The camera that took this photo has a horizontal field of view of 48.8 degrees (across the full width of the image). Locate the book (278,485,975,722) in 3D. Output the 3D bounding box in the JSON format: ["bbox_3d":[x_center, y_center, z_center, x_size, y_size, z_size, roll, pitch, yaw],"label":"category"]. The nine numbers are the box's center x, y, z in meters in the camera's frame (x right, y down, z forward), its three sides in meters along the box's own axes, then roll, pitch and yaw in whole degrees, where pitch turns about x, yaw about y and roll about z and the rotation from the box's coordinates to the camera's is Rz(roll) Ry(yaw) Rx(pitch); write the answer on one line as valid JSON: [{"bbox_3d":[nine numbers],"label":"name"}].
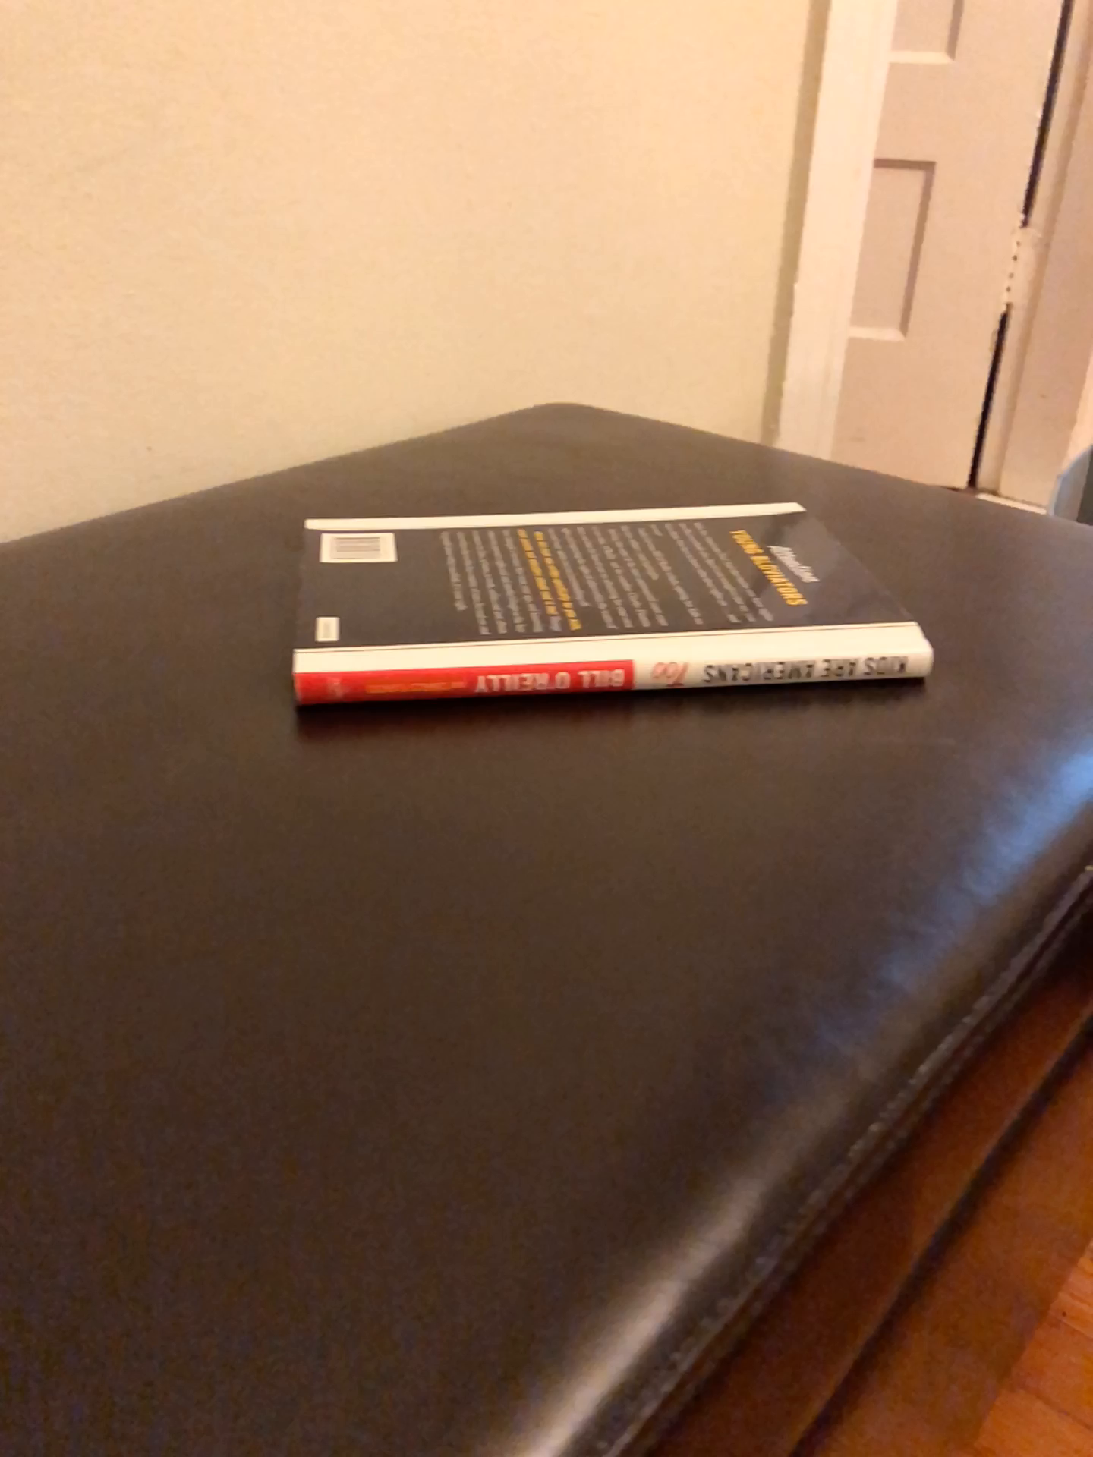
[{"bbox_3d":[0.018,-0.056,0.462,0.230,0.020,0.161,-3,29,-9],"label":"book"}]
